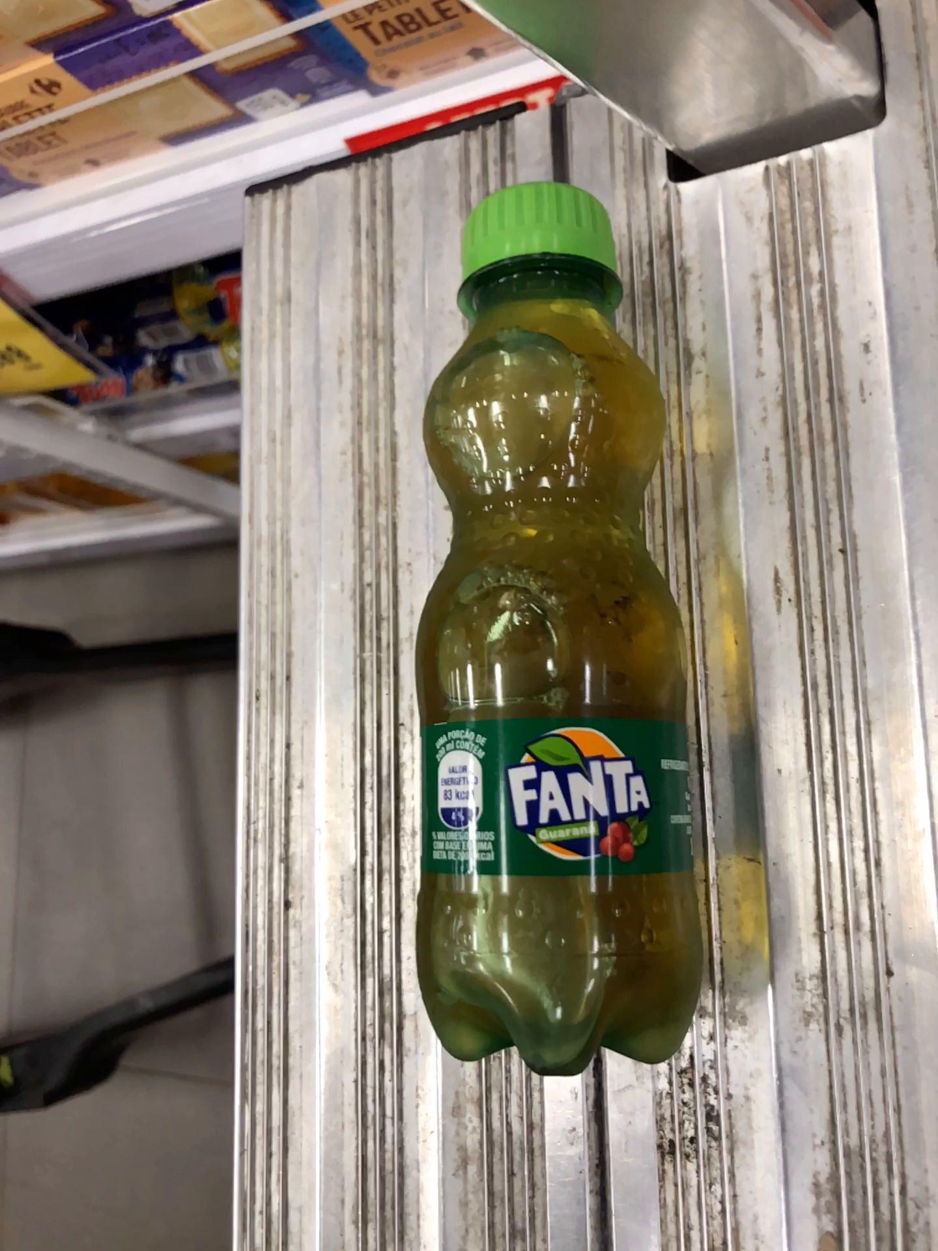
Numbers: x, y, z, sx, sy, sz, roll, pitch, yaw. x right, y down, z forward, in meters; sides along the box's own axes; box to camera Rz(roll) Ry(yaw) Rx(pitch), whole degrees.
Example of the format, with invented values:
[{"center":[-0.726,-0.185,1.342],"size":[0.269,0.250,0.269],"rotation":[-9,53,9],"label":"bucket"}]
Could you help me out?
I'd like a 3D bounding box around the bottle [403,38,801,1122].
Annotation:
[{"center":[0.022,-0.009,0.192],"size":[0.050,0.050,0.170],"rotation":[154,119,-69],"label":"bottle"}]
